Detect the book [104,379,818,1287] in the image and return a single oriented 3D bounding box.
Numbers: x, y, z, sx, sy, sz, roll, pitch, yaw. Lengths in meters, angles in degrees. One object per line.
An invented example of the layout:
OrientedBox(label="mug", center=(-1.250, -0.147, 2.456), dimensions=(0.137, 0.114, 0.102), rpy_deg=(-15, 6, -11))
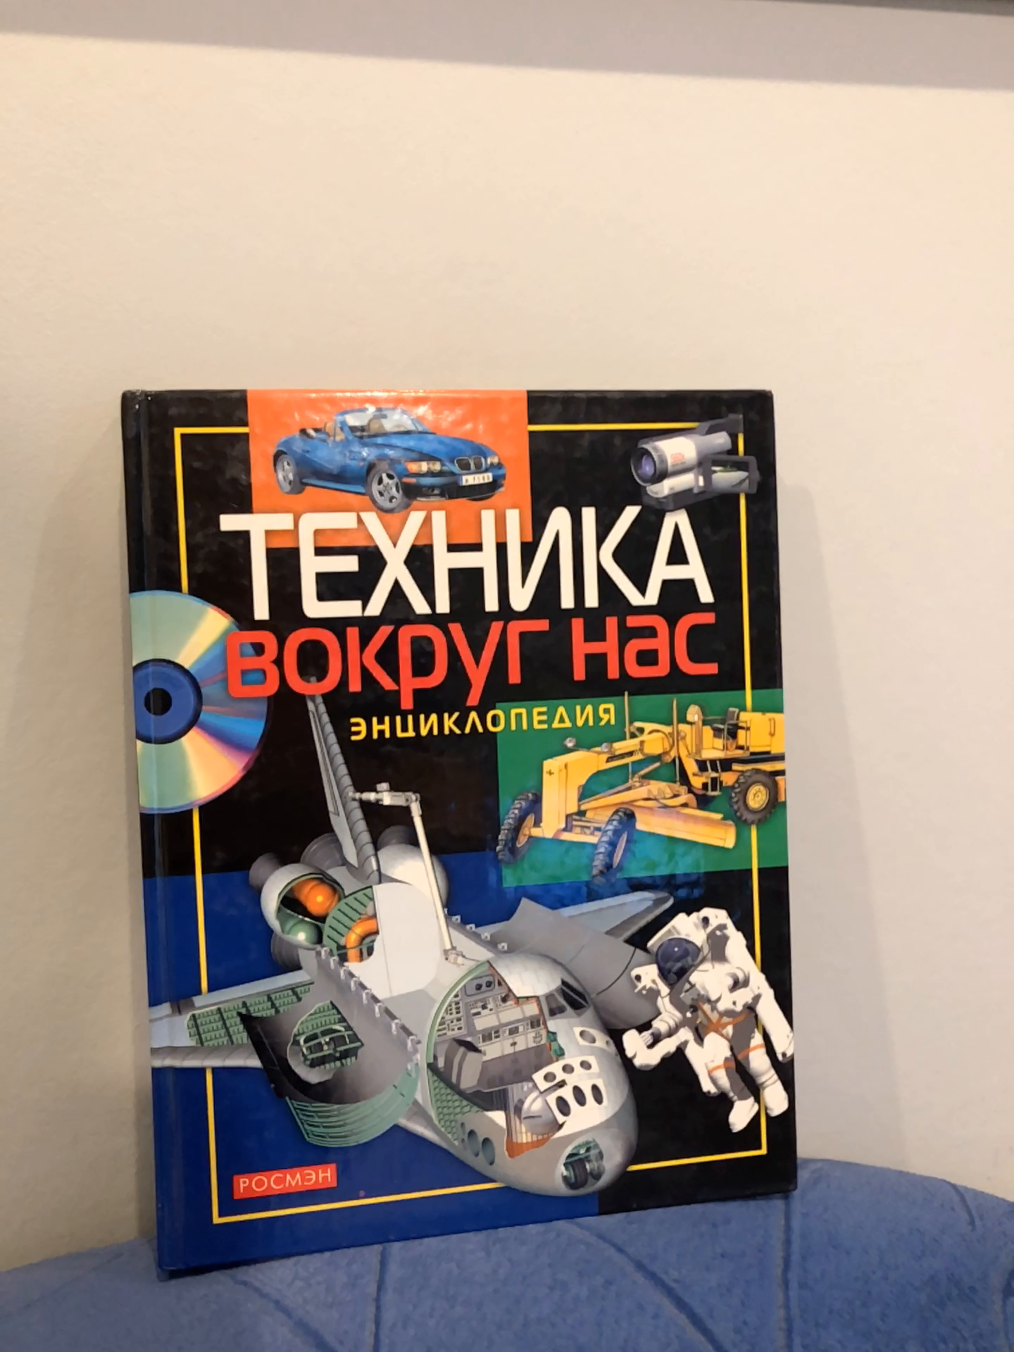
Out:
OrientedBox(label="book", center=(-0.010, 0.045, 0.378), dimensions=(0.220, 0.280, 0.030), rpy_deg=(-3, 2, -9))
